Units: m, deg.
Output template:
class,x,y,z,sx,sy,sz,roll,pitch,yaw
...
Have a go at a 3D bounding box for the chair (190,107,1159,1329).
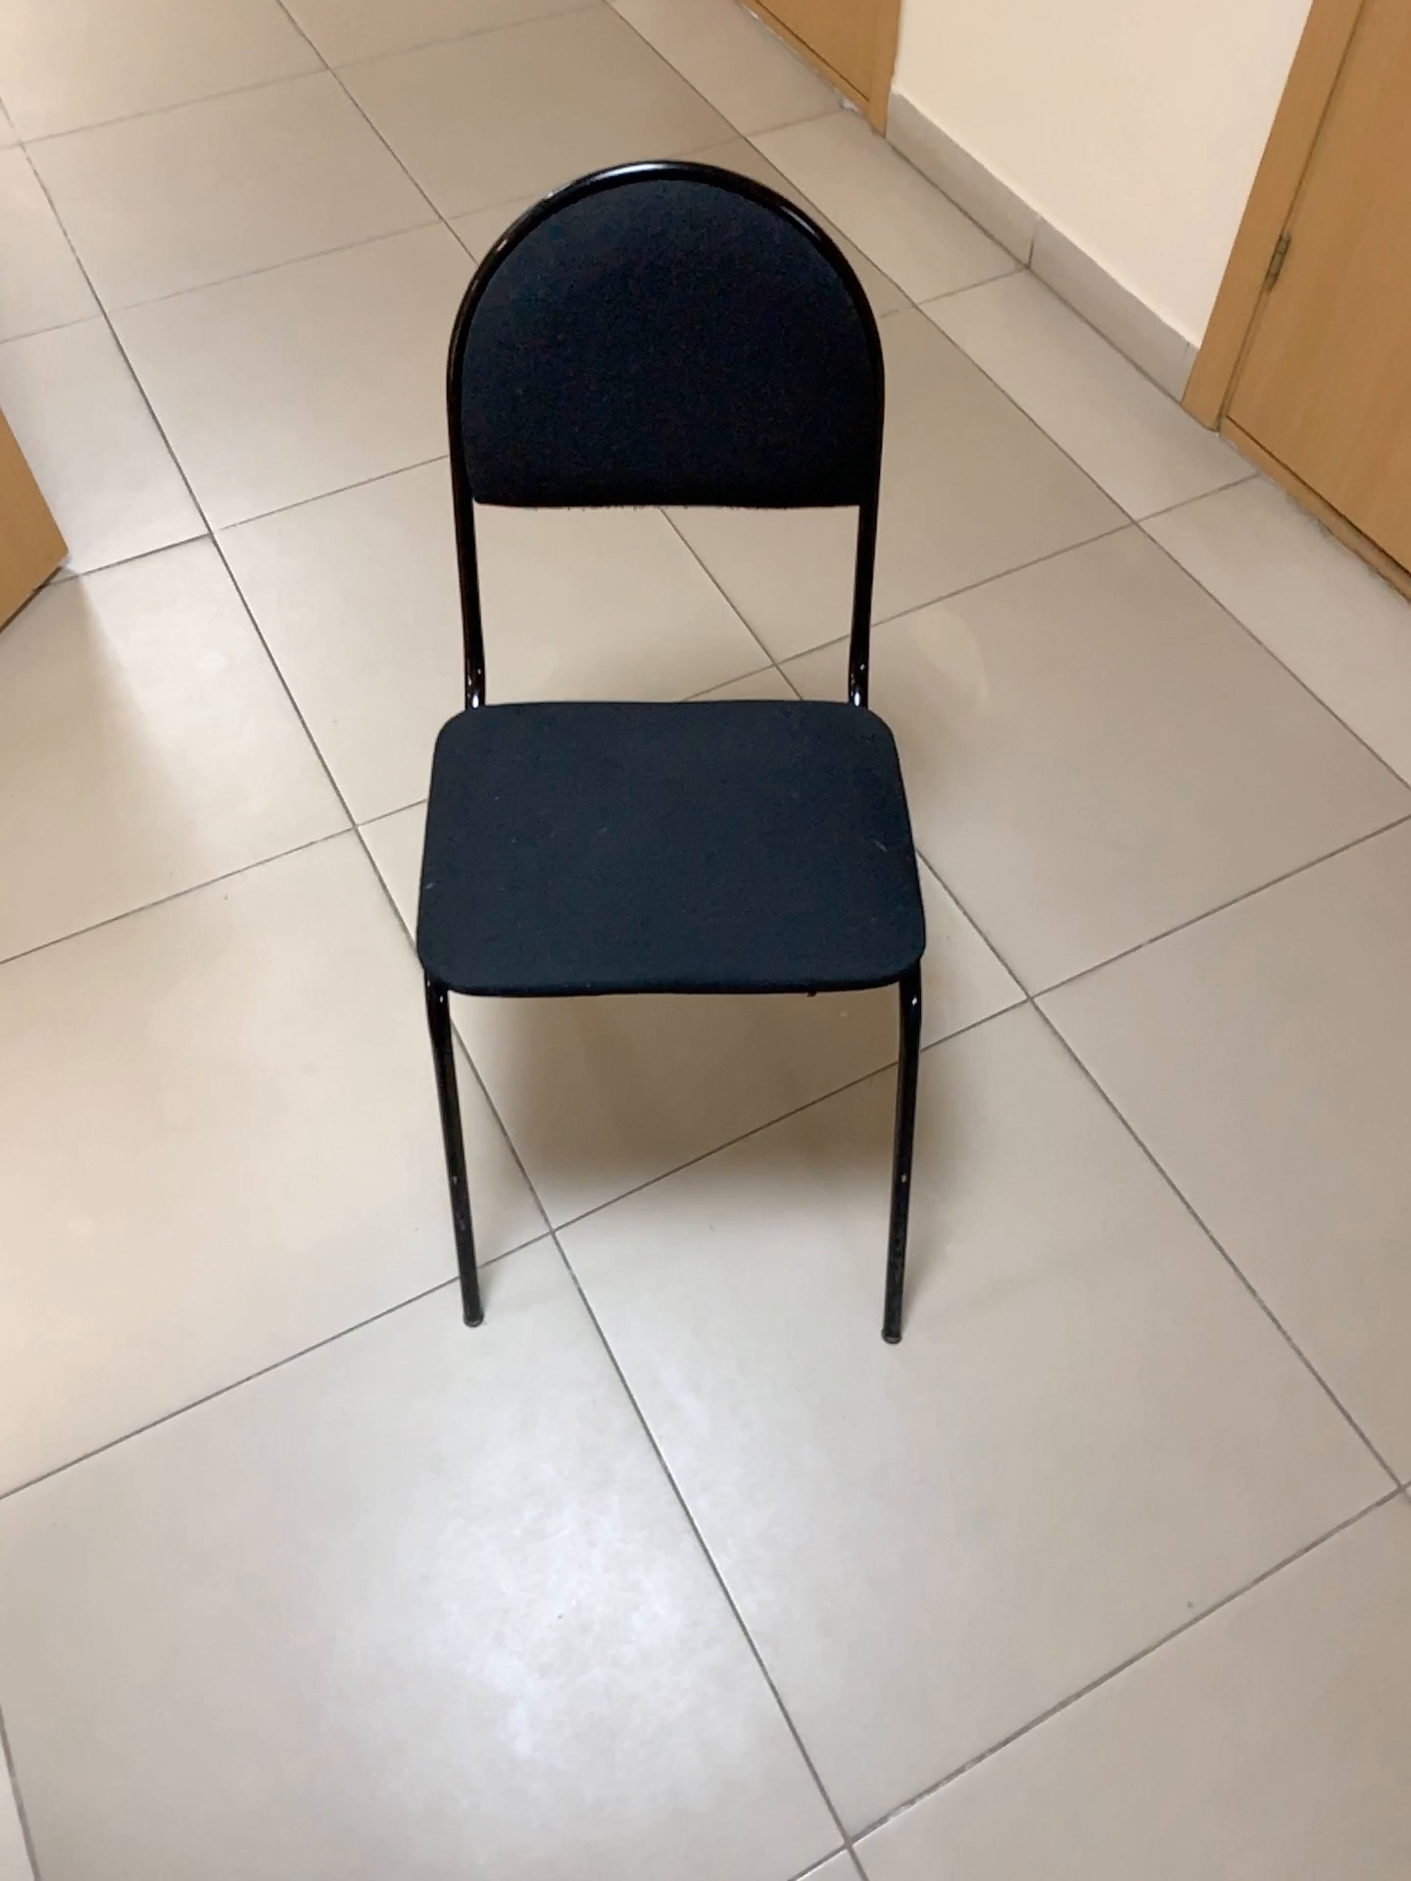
class,x,y,z,sx,sy,sz,roll,pitch,yaw
chair,-0.018,-0.135,1.224,0.480,0.775,0.695,0,56,0
